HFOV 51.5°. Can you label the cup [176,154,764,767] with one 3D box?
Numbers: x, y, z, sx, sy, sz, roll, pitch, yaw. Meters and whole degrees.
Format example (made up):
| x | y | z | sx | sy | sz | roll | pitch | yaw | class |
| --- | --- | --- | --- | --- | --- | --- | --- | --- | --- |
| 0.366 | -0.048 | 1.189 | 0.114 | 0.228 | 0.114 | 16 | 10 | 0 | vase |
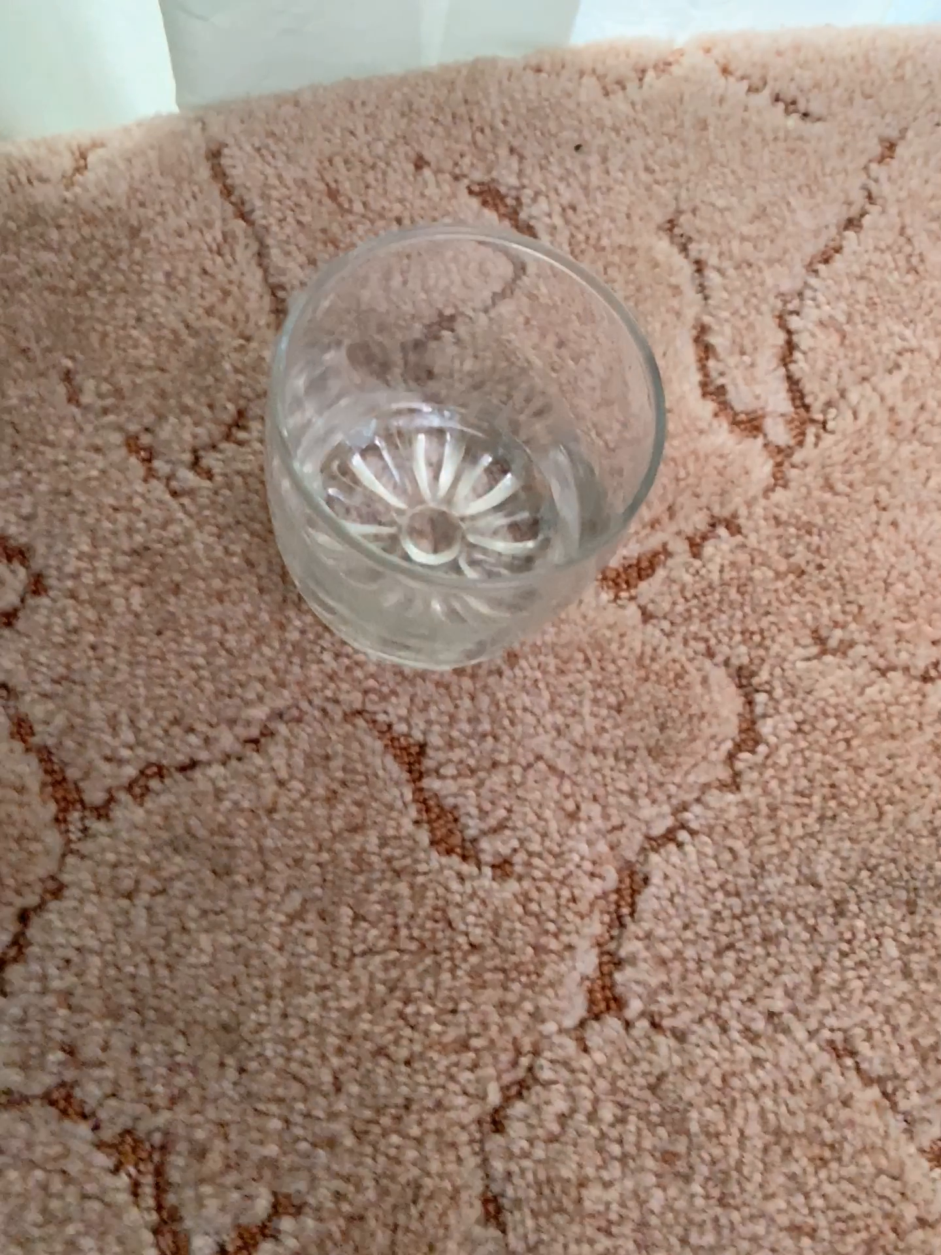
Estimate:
| x | y | z | sx | sy | sz | roll | pitch | yaw | class |
| --- | --- | --- | --- | --- | --- | --- | --- | --- | --- |
| -0.004 | -0.031 | 0.231 | 0.080 | 0.090 | 0.090 | -28 | 79 | -11 | cup |
